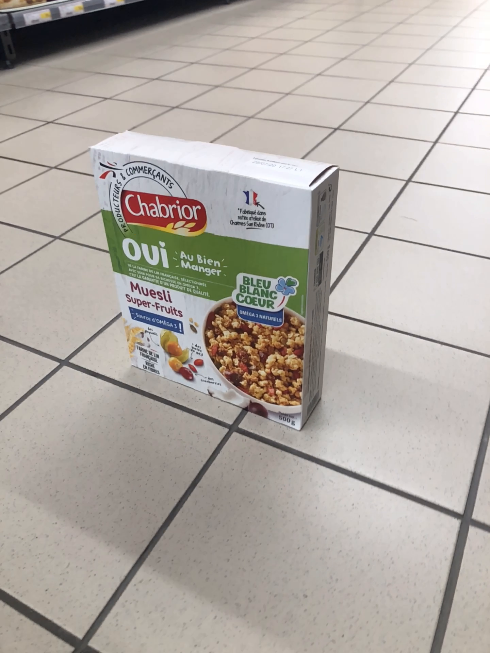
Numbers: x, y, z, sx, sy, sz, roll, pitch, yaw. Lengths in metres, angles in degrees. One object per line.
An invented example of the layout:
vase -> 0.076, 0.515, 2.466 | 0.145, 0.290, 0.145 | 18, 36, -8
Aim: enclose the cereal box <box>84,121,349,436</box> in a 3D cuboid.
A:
cereal box -> -0.022, -0.038, 0.461 | 0.190, 0.229, 0.060 | 18, 41, 24
